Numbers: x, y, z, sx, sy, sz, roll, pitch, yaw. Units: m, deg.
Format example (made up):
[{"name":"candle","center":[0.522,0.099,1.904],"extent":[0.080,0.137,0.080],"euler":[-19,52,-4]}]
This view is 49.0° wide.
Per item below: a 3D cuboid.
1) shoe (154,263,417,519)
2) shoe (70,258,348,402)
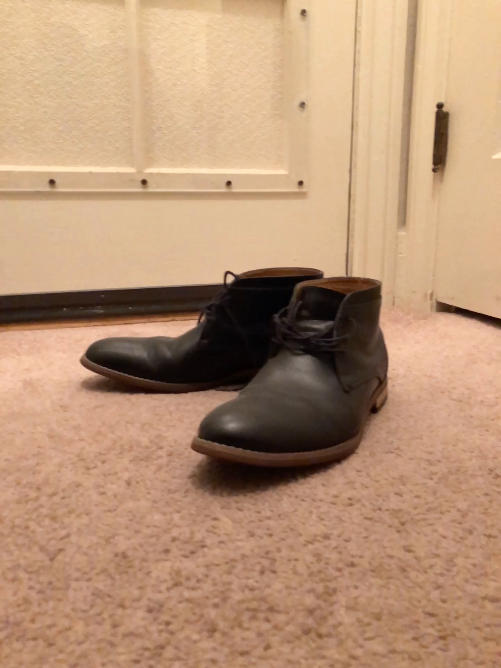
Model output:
[{"name":"shoe","center":[0.056,0.019,0.502],"extent":[0.116,0.136,0.303],"euler":[7,14,28]},{"name":"shoe","center":[-0.050,-0.015,0.660],"extent":[0.302,0.136,0.116],"euler":[-3,13,-14]}]
